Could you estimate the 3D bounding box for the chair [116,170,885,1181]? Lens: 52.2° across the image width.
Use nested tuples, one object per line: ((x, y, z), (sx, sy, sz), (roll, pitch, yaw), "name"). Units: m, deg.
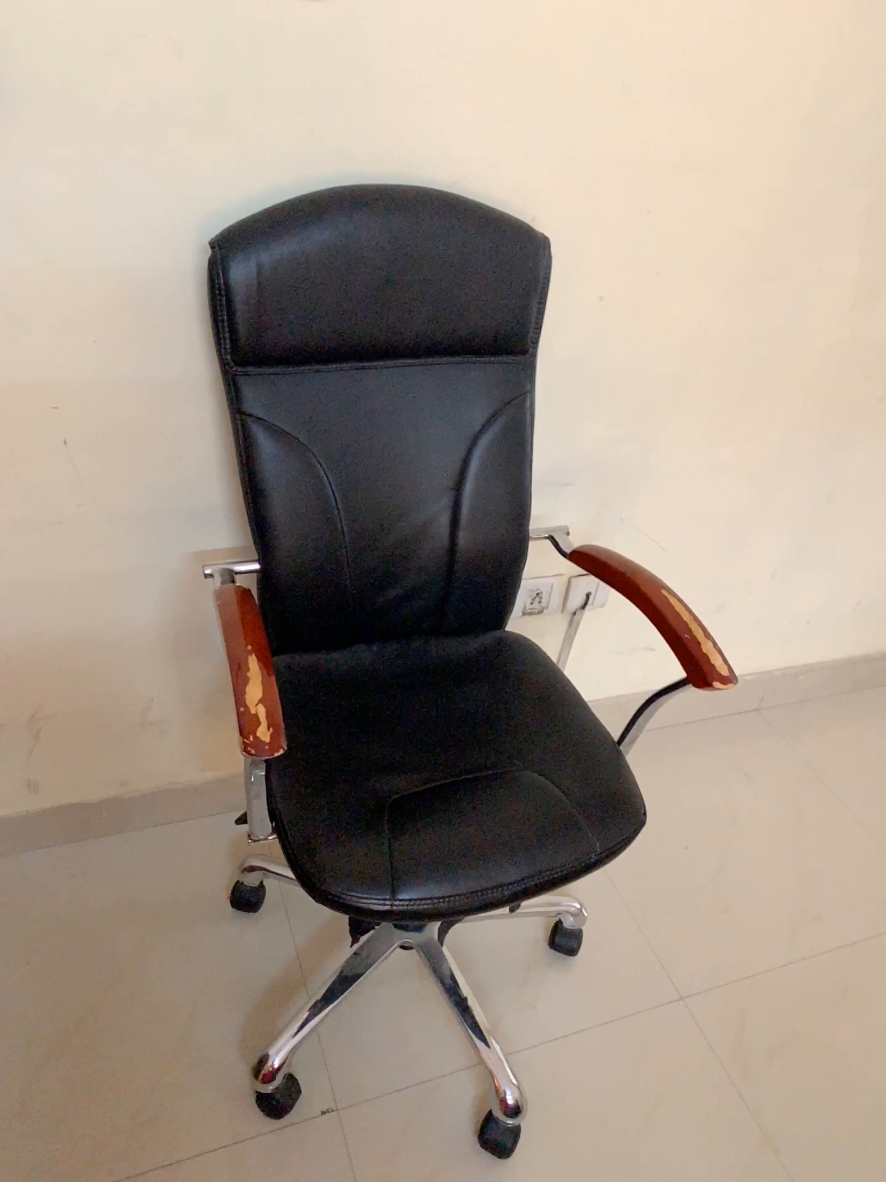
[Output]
((-0.003, 0.120, 1.213), (0.701, 1.081, 0.756), (-6, 36, -20), "chair")
